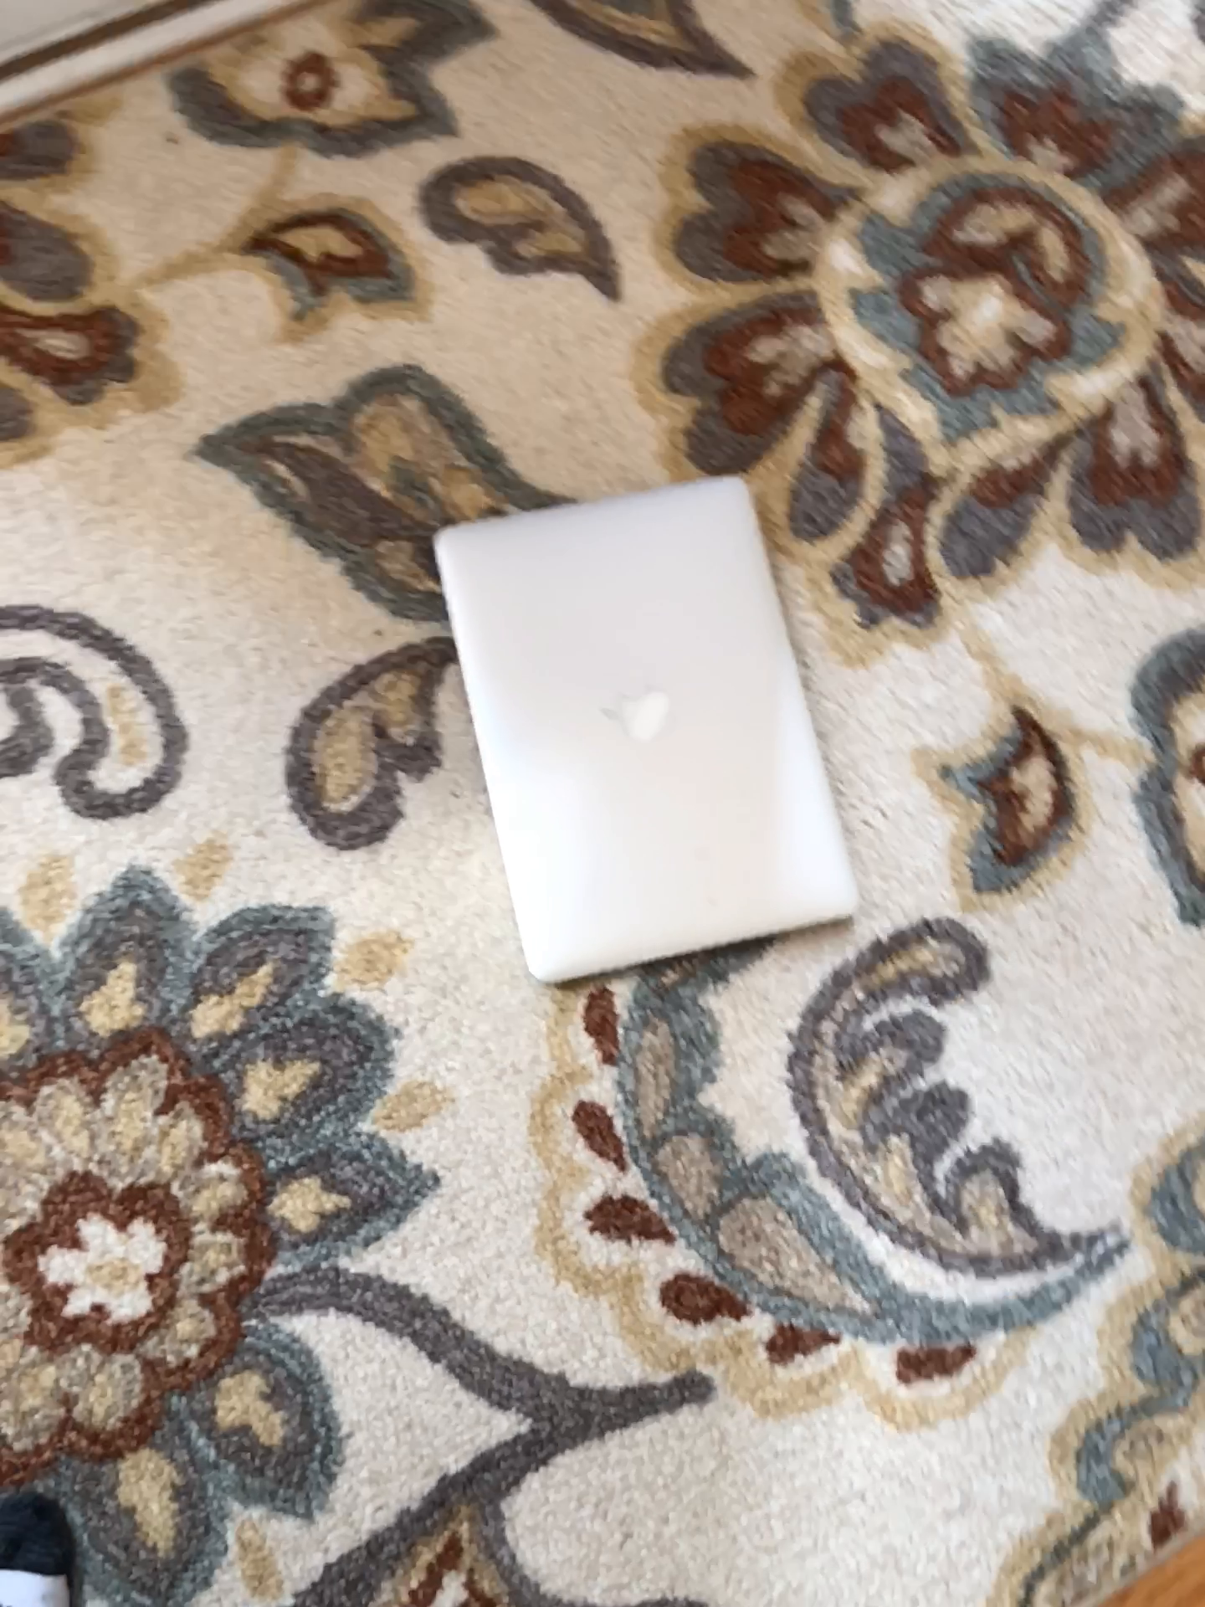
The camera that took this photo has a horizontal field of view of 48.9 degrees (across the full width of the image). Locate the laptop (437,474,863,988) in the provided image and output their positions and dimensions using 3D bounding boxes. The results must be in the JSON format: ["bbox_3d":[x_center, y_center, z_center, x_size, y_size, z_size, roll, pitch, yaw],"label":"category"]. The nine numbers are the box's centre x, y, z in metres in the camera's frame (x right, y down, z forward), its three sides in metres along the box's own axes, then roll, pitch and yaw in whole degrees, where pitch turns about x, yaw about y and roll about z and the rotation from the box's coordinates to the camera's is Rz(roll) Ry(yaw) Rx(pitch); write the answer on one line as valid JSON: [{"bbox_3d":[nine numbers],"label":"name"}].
[{"bbox_3d":[0.027,-0.053,0.828,0.207,0.001,0.295,-12,79,-8],"label":"laptop"}]
